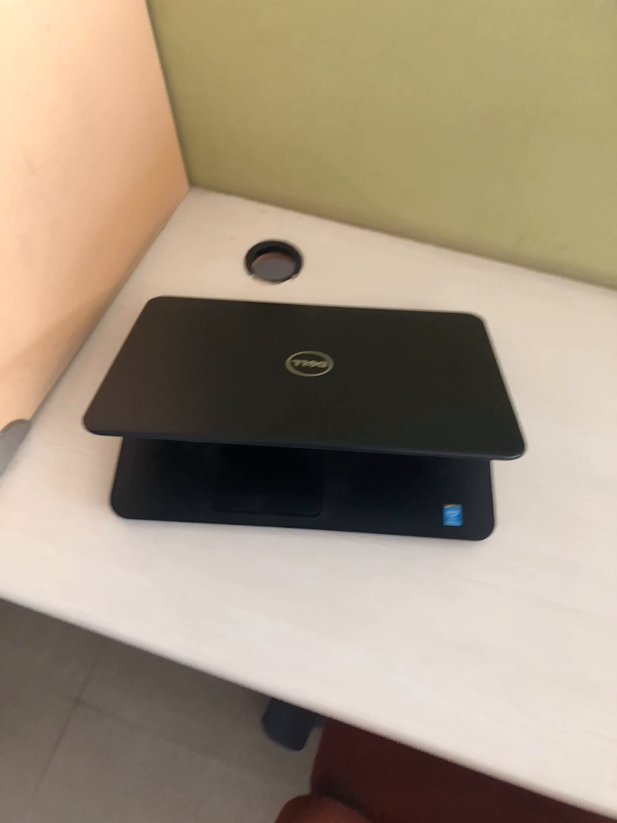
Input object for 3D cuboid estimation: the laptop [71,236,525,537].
[{"bbox_3d":[-0.002,-0.028,0.652,0.366,0.107,0.248,3,61,2],"label":"laptop"}]
